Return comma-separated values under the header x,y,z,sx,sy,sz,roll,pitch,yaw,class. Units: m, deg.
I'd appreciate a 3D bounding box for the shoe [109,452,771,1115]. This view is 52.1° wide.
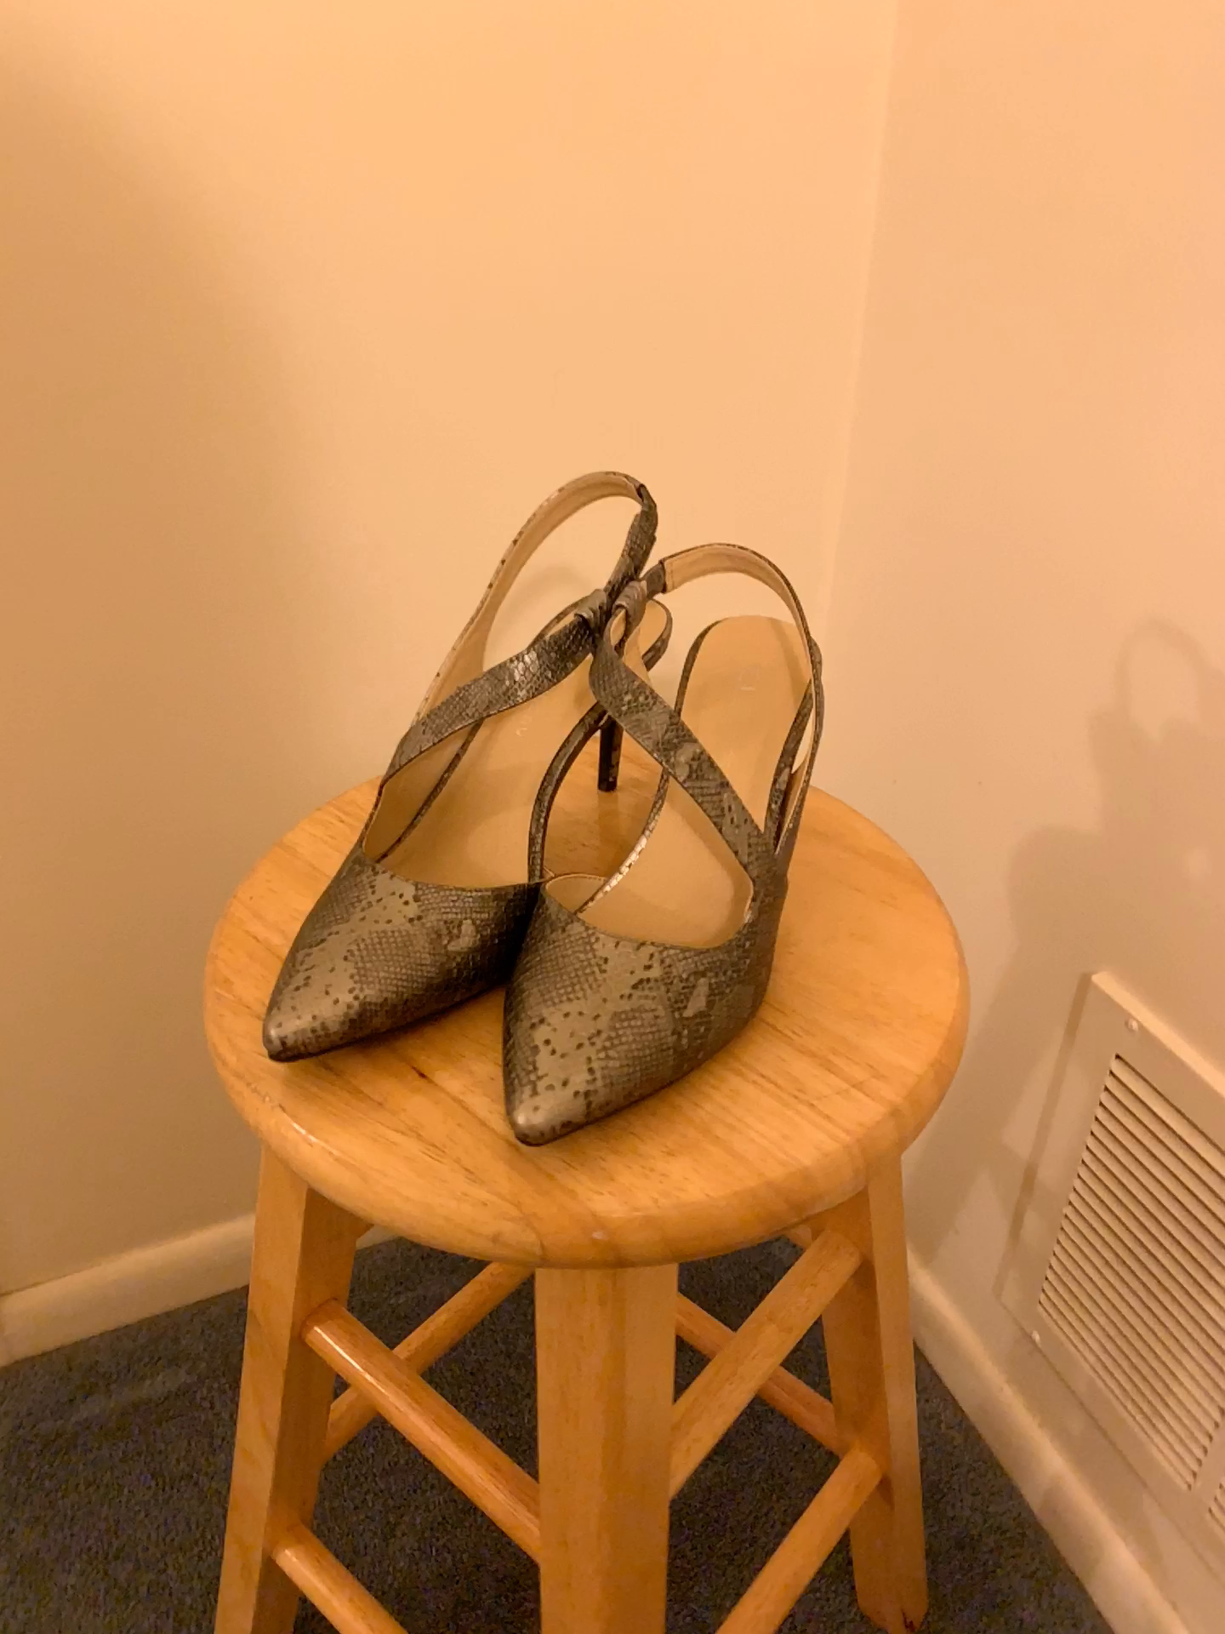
x,y,z,sx,sy,sz,roll,pitch,yaw,class
-0.042,-0.036,0.484,0.100,0.125,0.270,17,36,23,shoe

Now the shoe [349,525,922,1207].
x,y,z,sx,sy,sz,roll,pitch,yaw,class
0.025,-0.005,0.449,0.103,0.106,0.251,14,35,19,shoe
